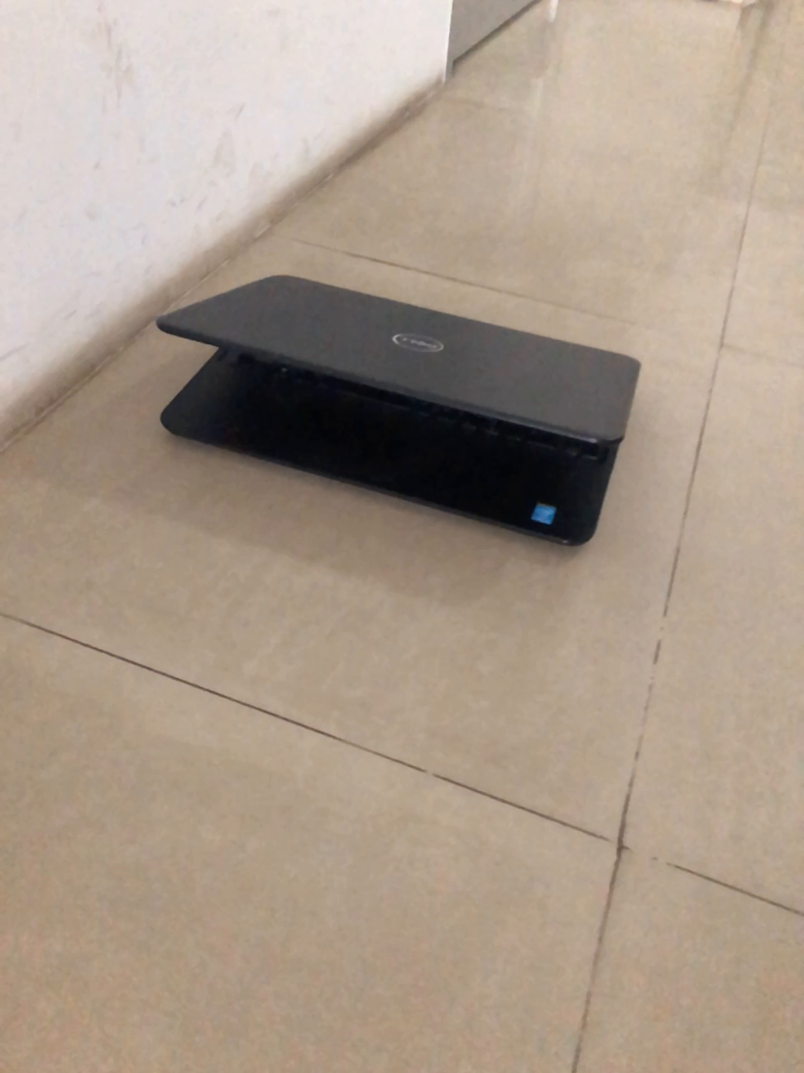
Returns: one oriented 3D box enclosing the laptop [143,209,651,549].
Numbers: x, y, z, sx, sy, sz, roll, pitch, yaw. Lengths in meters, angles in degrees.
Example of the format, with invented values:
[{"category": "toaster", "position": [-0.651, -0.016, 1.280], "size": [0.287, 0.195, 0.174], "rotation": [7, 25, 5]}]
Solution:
[{"category": "laptop", "position": [0.009, -0.151, 0.747], "size": [0.357, 0.078, 0.249], "rotation": [16, 46, 10]}]
